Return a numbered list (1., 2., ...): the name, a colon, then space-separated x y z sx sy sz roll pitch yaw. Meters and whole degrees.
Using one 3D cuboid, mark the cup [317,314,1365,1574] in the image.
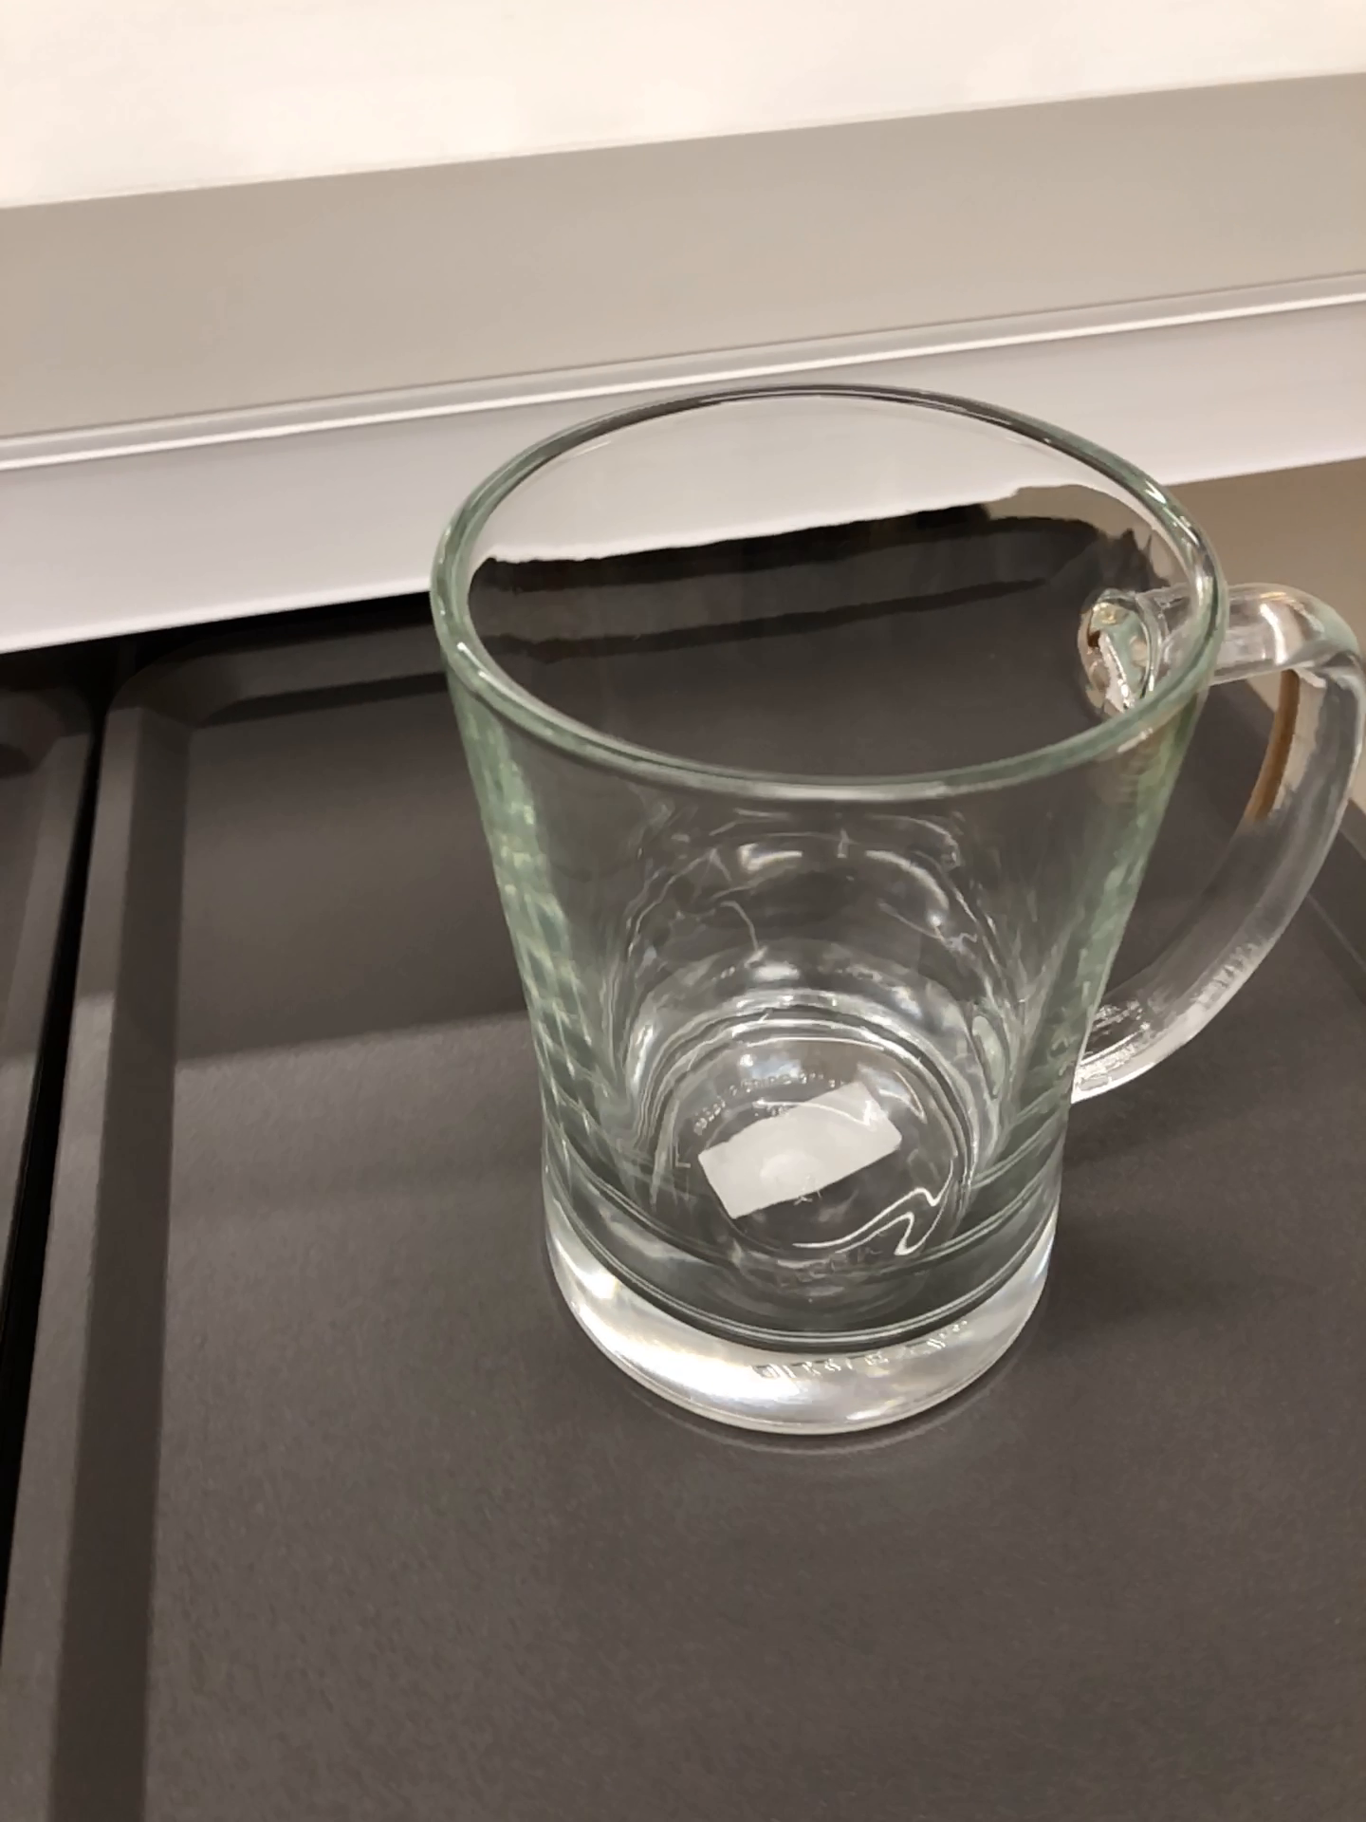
1. cup: 0.041 -0.001 0.245 0.160 0.130 0.110 -13 42 -13
